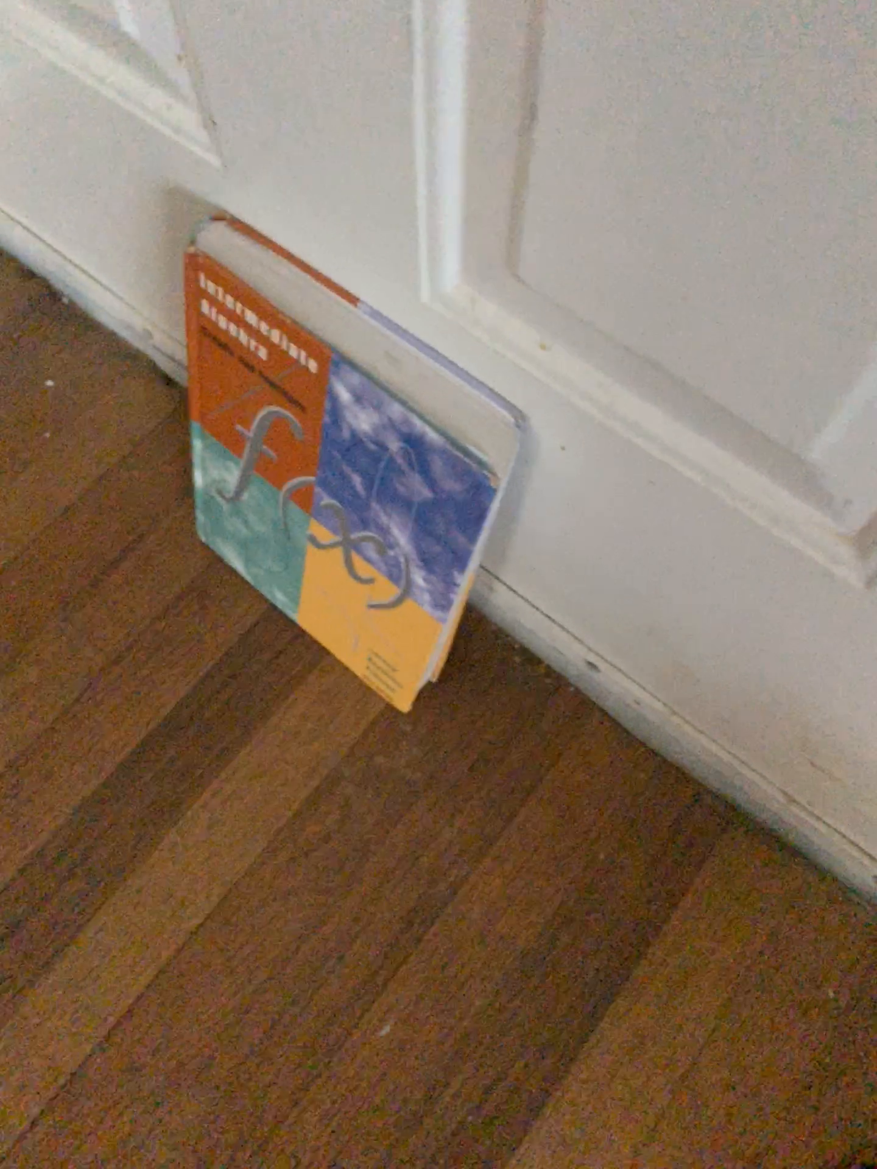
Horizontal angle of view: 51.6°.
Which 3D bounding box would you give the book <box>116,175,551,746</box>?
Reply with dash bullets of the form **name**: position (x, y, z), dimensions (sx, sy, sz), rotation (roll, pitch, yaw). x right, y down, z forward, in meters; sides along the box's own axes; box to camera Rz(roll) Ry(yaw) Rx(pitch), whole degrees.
- **book**: position (-0.074, -0.056, 0.526), dimensions (0.230, 0.249, 0.060), rotation (40, 57, 17)
